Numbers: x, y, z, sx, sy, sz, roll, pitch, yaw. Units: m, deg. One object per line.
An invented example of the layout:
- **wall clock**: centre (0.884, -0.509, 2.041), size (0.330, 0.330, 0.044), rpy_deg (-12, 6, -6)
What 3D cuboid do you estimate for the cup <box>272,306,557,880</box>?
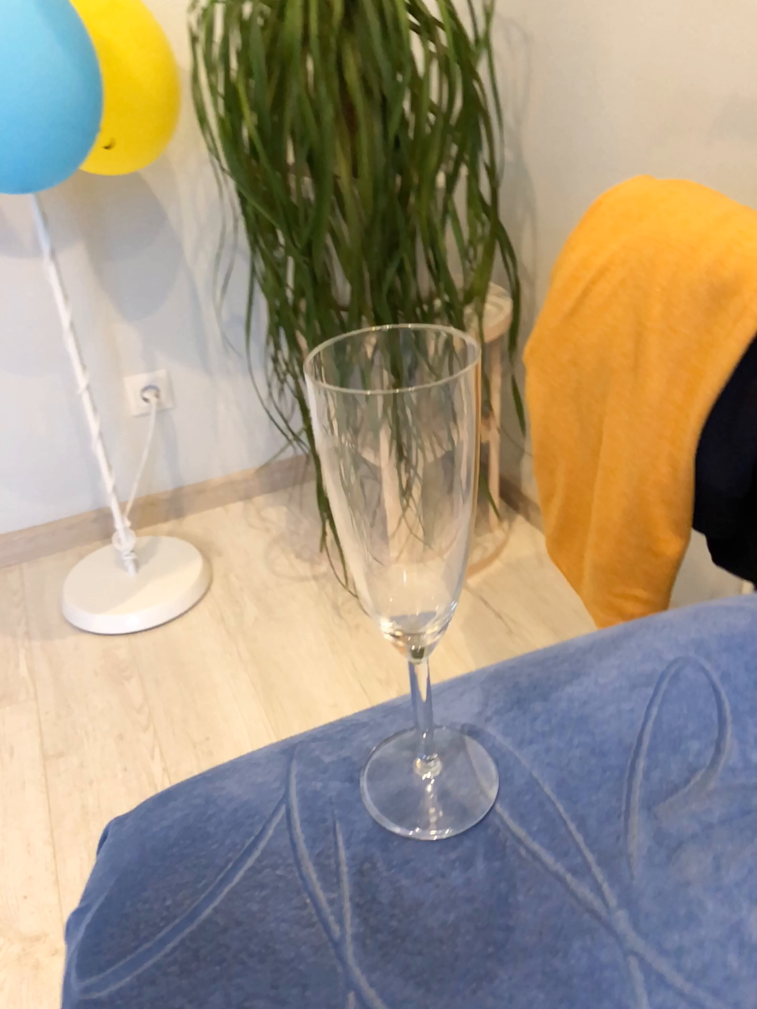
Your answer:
- **cup**: centre (0.015, 0.040, 0.336), size (0.076, 0.214, 0.072), rpy_deg (-3, 30, 2)
